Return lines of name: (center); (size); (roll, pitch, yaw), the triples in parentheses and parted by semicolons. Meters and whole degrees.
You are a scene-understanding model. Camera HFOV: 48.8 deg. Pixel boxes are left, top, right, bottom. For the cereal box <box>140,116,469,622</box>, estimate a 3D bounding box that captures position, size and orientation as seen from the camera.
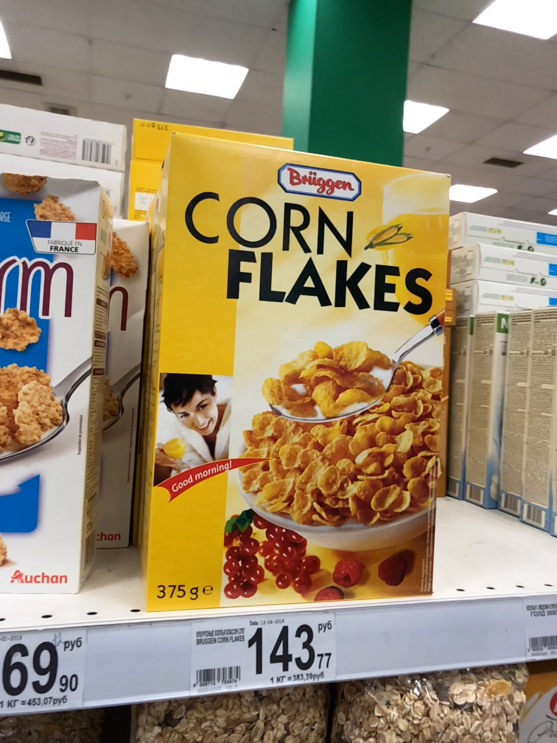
cereal box: (0.016, 0.002, 0.431); (0.200, 0.300, 0.080); (3, -1, -16)
